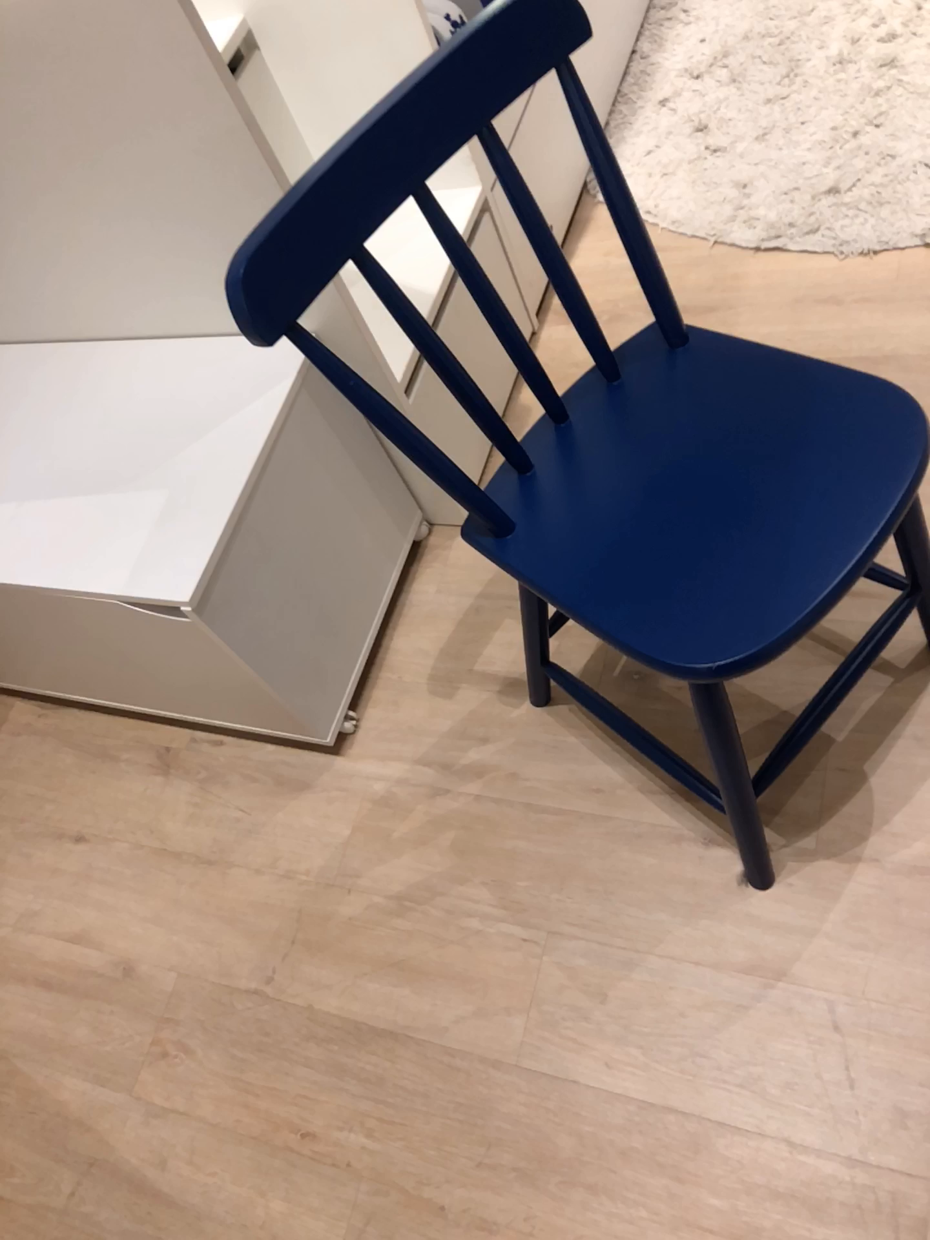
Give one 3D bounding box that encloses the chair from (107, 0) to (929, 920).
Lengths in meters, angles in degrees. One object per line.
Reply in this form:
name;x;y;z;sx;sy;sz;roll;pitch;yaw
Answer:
chair;0.182;-0.160;0.977;0.460;0.805;0.482;-47;53;-11
